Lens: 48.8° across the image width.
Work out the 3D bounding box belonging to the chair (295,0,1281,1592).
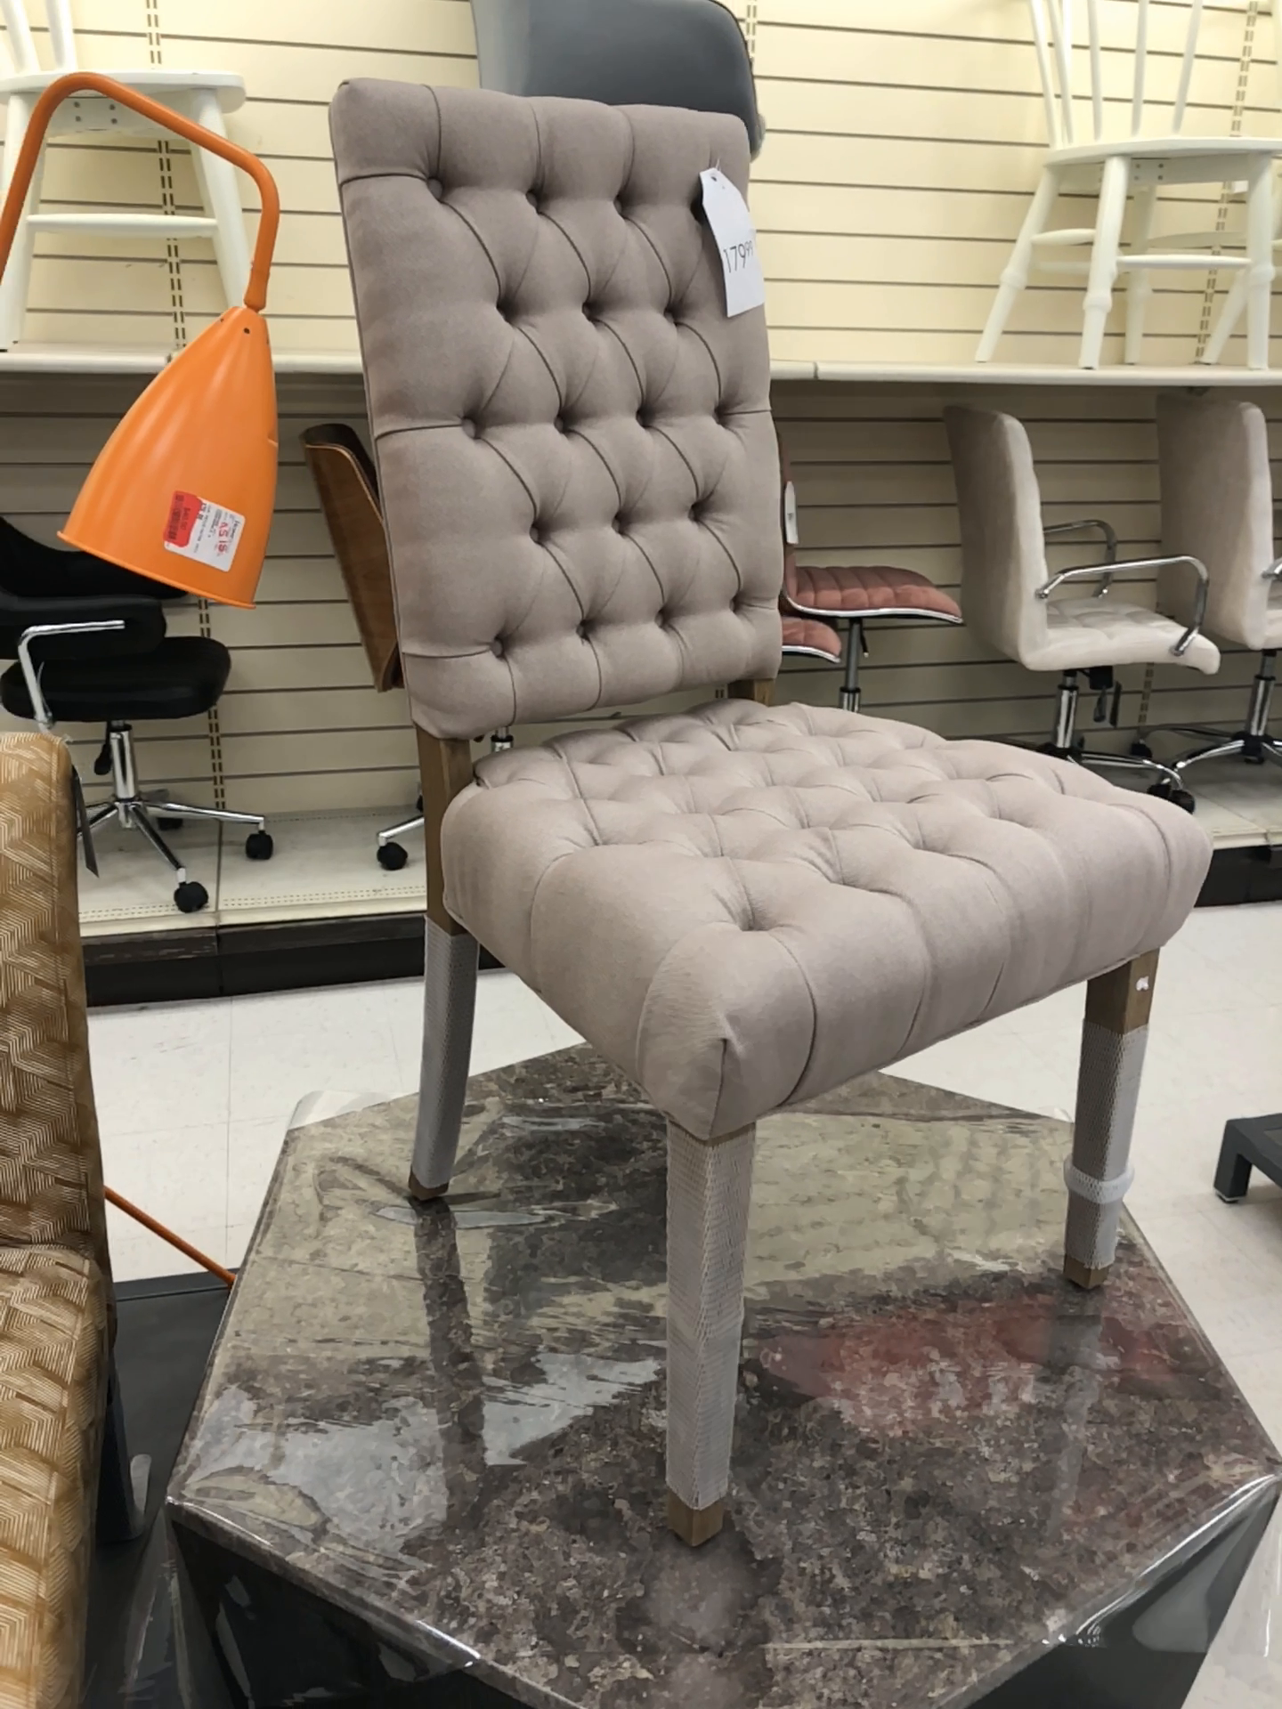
[{"bbox_3d":[0.119,-0.096,1.224,0.571,1.046,0.581,-13,25,-34],"label":"chair"}]
